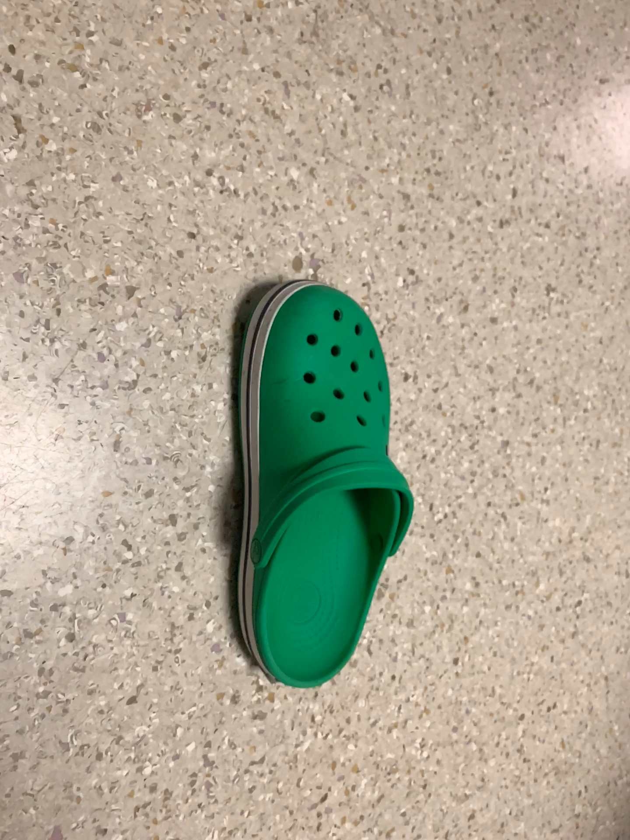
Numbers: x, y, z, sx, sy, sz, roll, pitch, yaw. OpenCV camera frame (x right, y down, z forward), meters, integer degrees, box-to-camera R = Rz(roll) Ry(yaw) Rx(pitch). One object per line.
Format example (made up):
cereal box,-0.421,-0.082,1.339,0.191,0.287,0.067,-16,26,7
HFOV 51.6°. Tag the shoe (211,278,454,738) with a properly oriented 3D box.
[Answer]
shoe,0.010,0.046,0.395,0.108,0.082,0.234,3,90,-34
